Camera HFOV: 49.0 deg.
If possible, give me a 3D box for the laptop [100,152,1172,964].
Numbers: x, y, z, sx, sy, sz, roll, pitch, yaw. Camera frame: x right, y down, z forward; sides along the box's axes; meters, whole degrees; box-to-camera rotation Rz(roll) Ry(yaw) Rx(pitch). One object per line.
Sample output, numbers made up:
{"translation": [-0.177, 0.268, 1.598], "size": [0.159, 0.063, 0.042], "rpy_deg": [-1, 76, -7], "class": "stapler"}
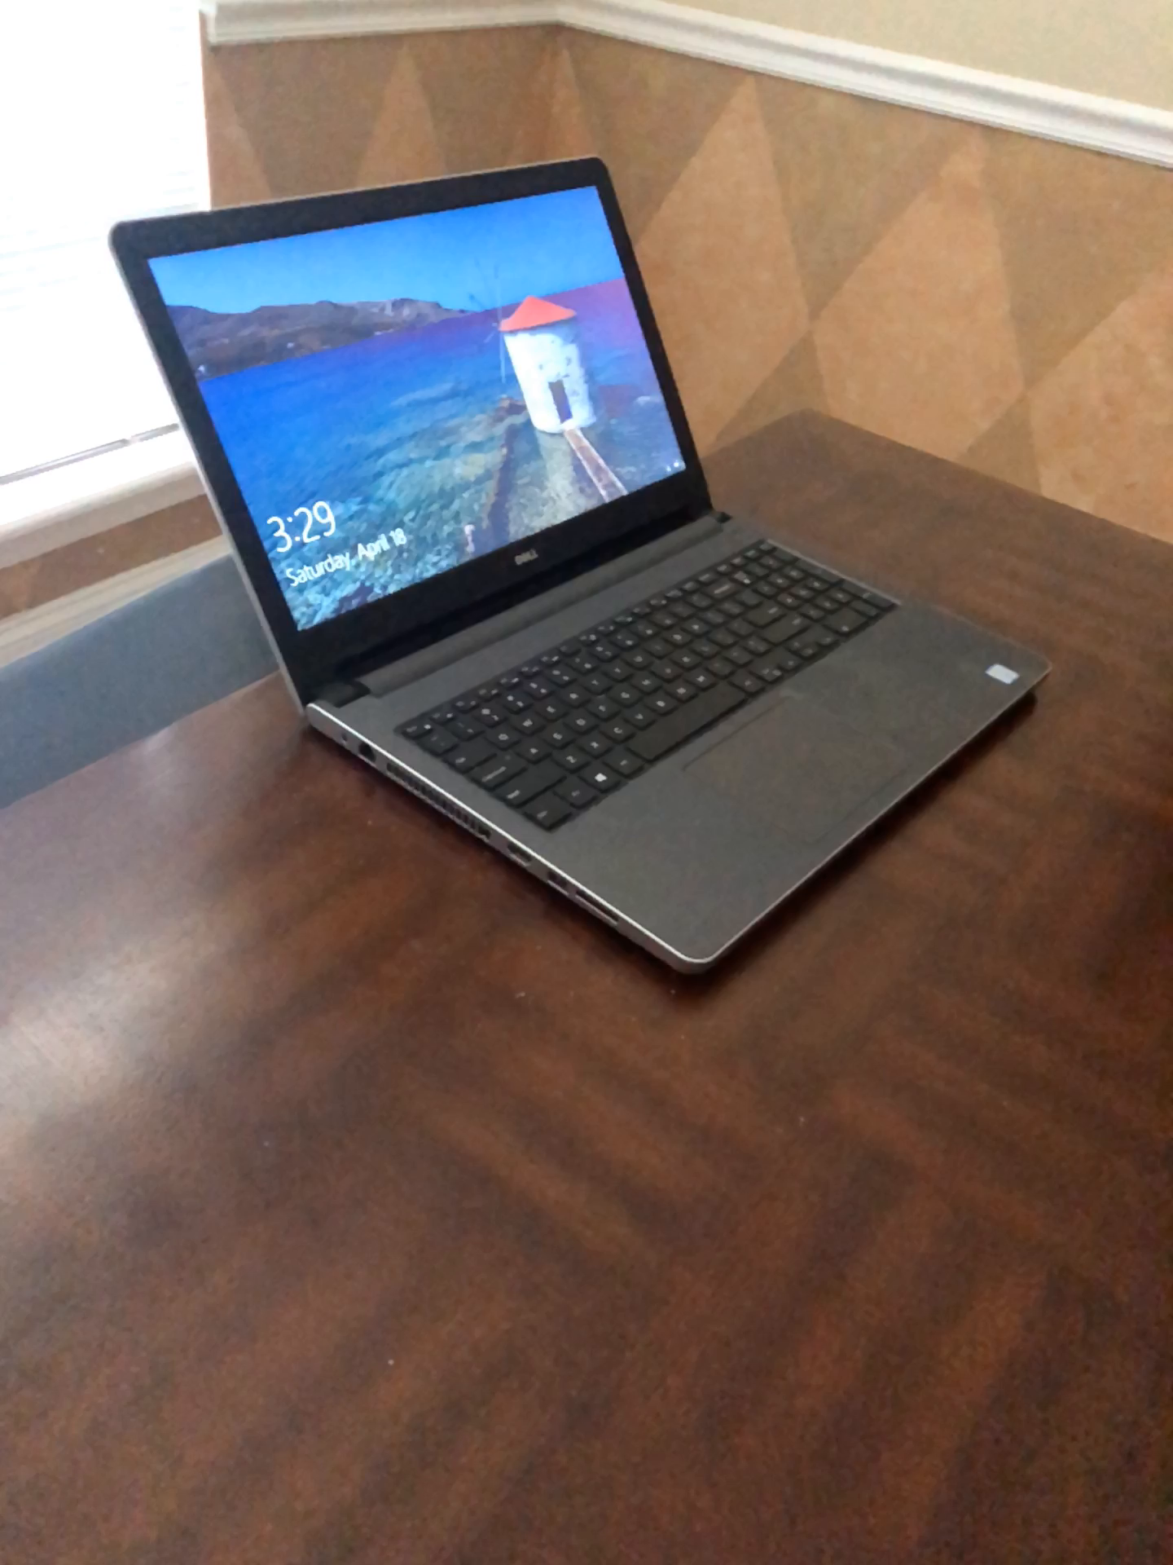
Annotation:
{"translation": [0.031, -0.167, 0.691], "size": [0.392, 0.198, 0.368], "rpy_deg": [31, 42, 26], "class": "laptop"}
